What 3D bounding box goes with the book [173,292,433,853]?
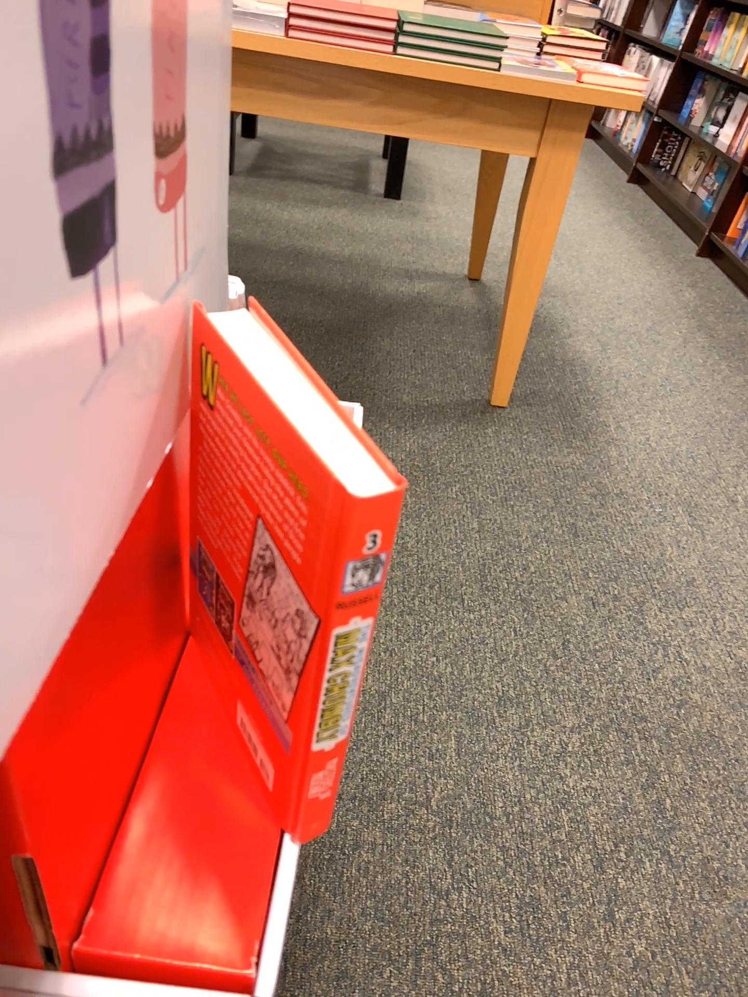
[{"bbox_3d":[-0.048,0.034,0.337,0.031,0.201,0.142,-13,42,-31],"label":"book"}]
